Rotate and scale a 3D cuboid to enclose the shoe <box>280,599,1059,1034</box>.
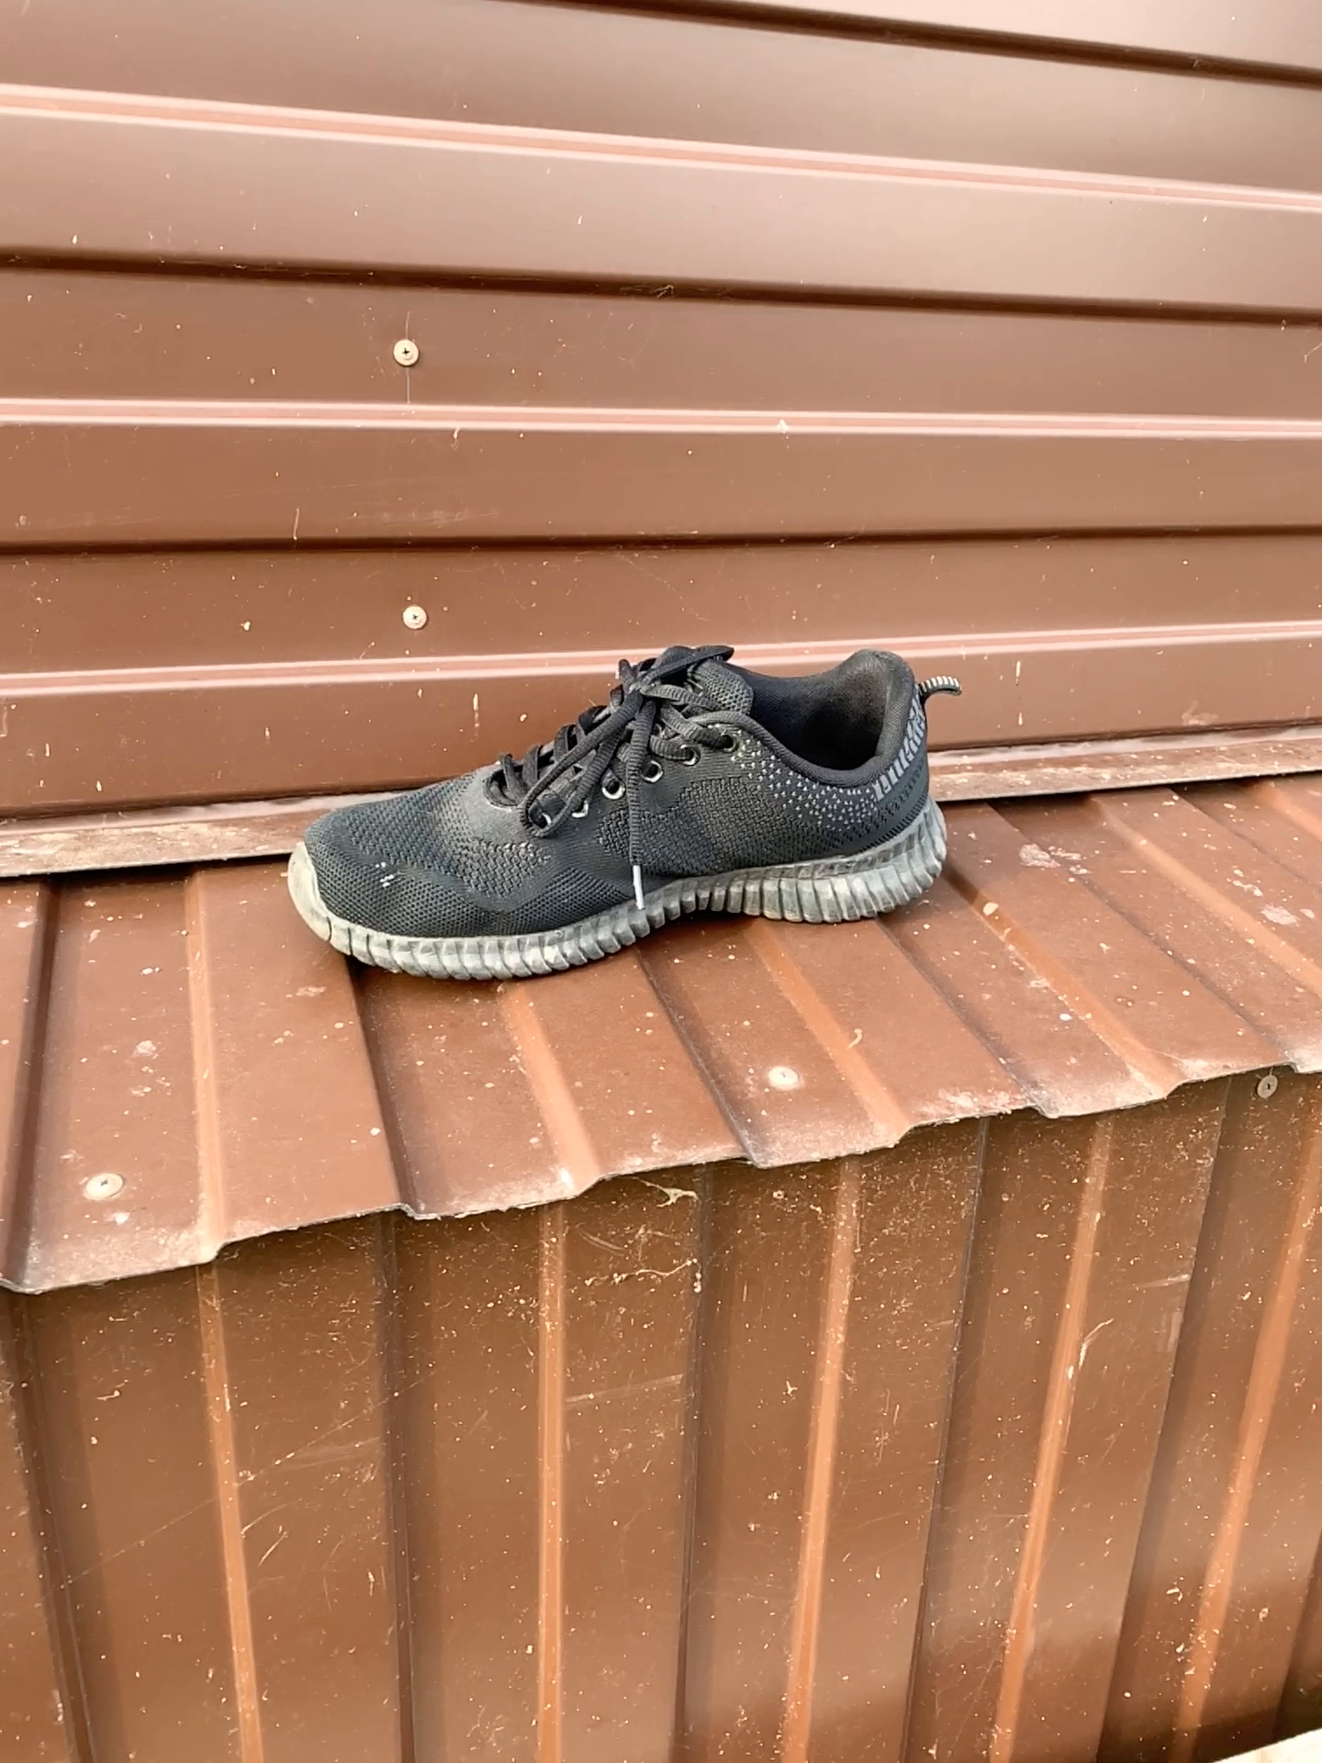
[{"bbox_3d":[0.000,-0.040,0.587,0.300,0.119,0.121,-7,32,-22],"label":"shoe"}]
